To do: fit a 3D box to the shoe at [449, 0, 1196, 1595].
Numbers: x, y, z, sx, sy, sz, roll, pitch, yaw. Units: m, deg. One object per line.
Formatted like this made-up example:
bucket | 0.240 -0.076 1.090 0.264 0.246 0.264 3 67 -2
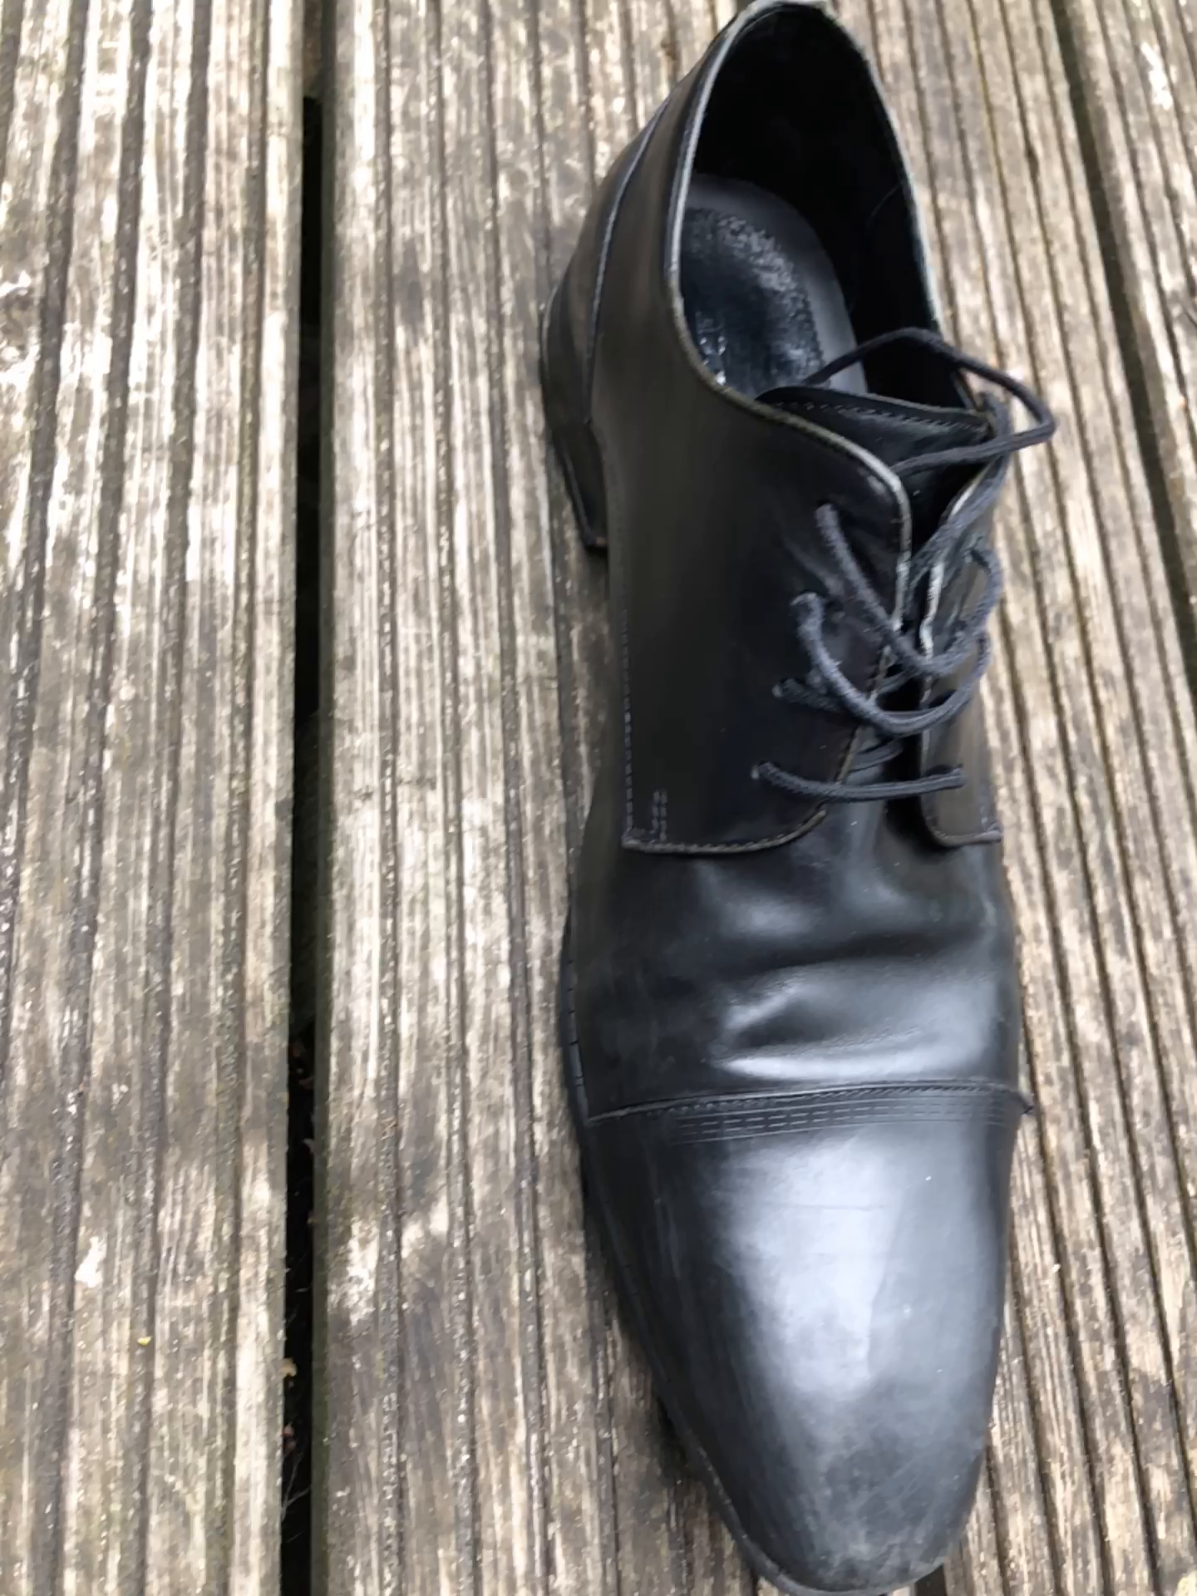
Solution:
shoe | 0.038 -0.016 0.290 0.090 0.149 0.341 2 72 -21
